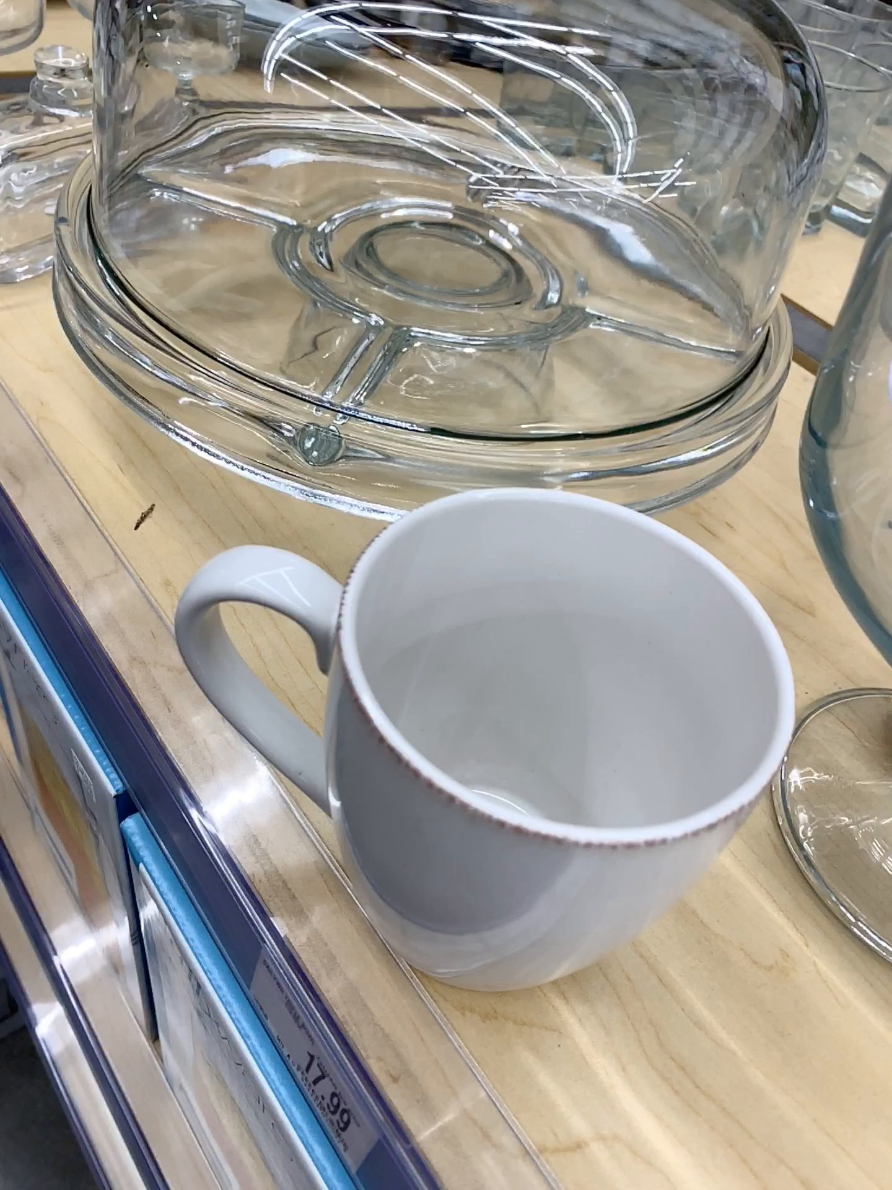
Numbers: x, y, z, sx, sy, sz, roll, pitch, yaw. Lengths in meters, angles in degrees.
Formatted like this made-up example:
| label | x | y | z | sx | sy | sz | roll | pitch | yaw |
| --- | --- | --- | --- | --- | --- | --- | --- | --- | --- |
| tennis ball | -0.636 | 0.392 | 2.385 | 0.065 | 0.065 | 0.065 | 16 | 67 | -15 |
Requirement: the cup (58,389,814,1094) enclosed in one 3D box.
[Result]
| label | x | y | z | sx | sy | sz | roll | pitch | yaw |
| --- | --- | --- | --- | --- | --- | --- | --- | --- | --- |
| cup | 0.002 | 0.034 | 0.218 | 0.130 | 0.094 | 0.096 | 17 | 48 | 4 |
